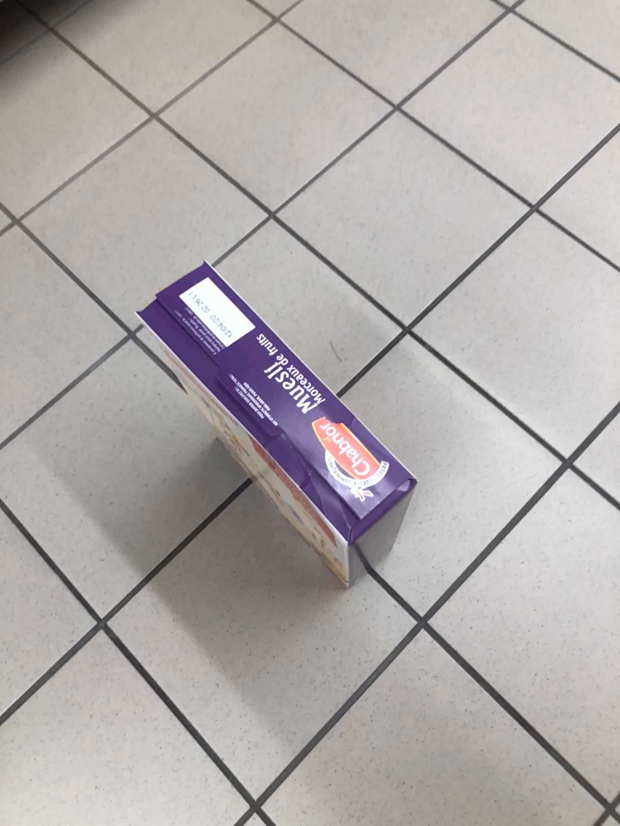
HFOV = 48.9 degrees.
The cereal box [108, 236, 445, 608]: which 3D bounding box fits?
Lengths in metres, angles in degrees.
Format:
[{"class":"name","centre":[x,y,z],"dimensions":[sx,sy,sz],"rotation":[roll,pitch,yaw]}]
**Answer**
[{"class":"cereal box","centre":[-0.018,0.030,0.505],"dimensions":[0.070,0.260,0.210],"rotation":[-41,73,-11]}]
